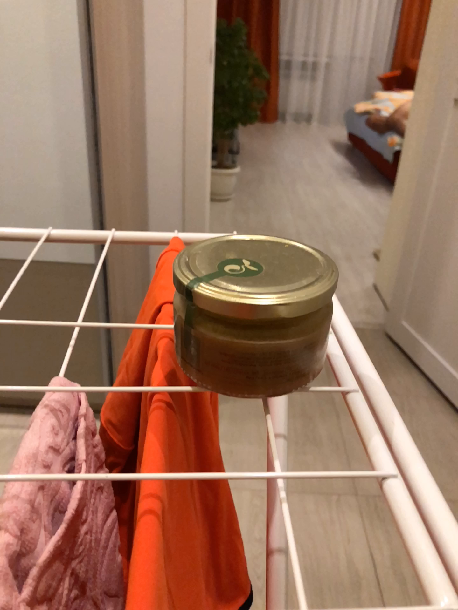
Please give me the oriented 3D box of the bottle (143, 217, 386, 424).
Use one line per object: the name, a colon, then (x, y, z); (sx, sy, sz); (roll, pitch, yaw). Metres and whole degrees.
bottle: (0.013, 0.000, 0.274); (0.090, 0.060, 0.090); (3, 27, -1)
